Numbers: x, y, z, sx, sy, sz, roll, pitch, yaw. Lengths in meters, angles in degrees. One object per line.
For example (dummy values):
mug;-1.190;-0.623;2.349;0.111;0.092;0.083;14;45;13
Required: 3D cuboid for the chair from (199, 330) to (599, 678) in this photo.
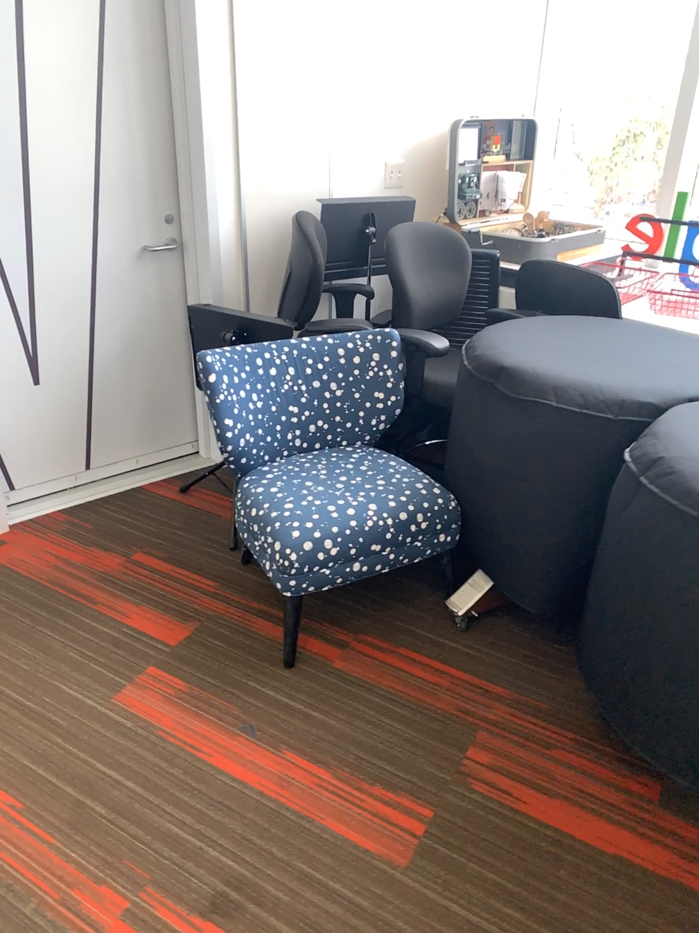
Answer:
chair;0.122;0.037;2.380;1.000;0.686;0.774;-12;30;-26
